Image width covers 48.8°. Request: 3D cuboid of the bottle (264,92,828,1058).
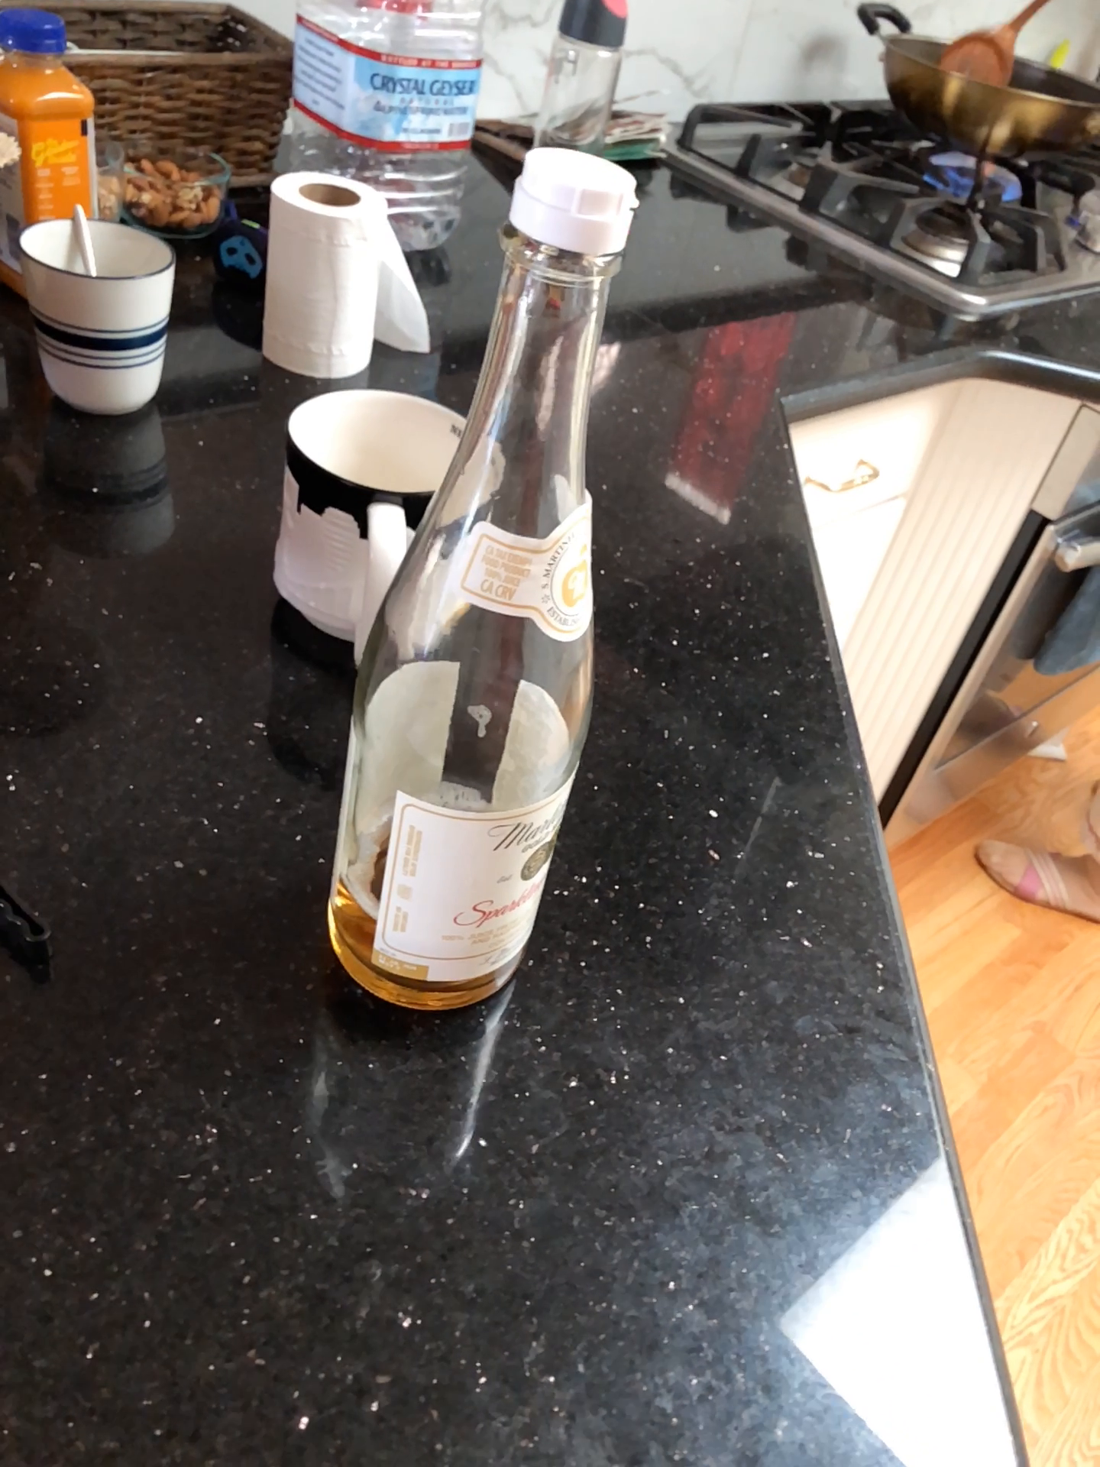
[{"bbox_3d":[-0.018,-0.034,0.398,0.098,0.288,0.094,9,40,-7],"label":"bottle"}]
